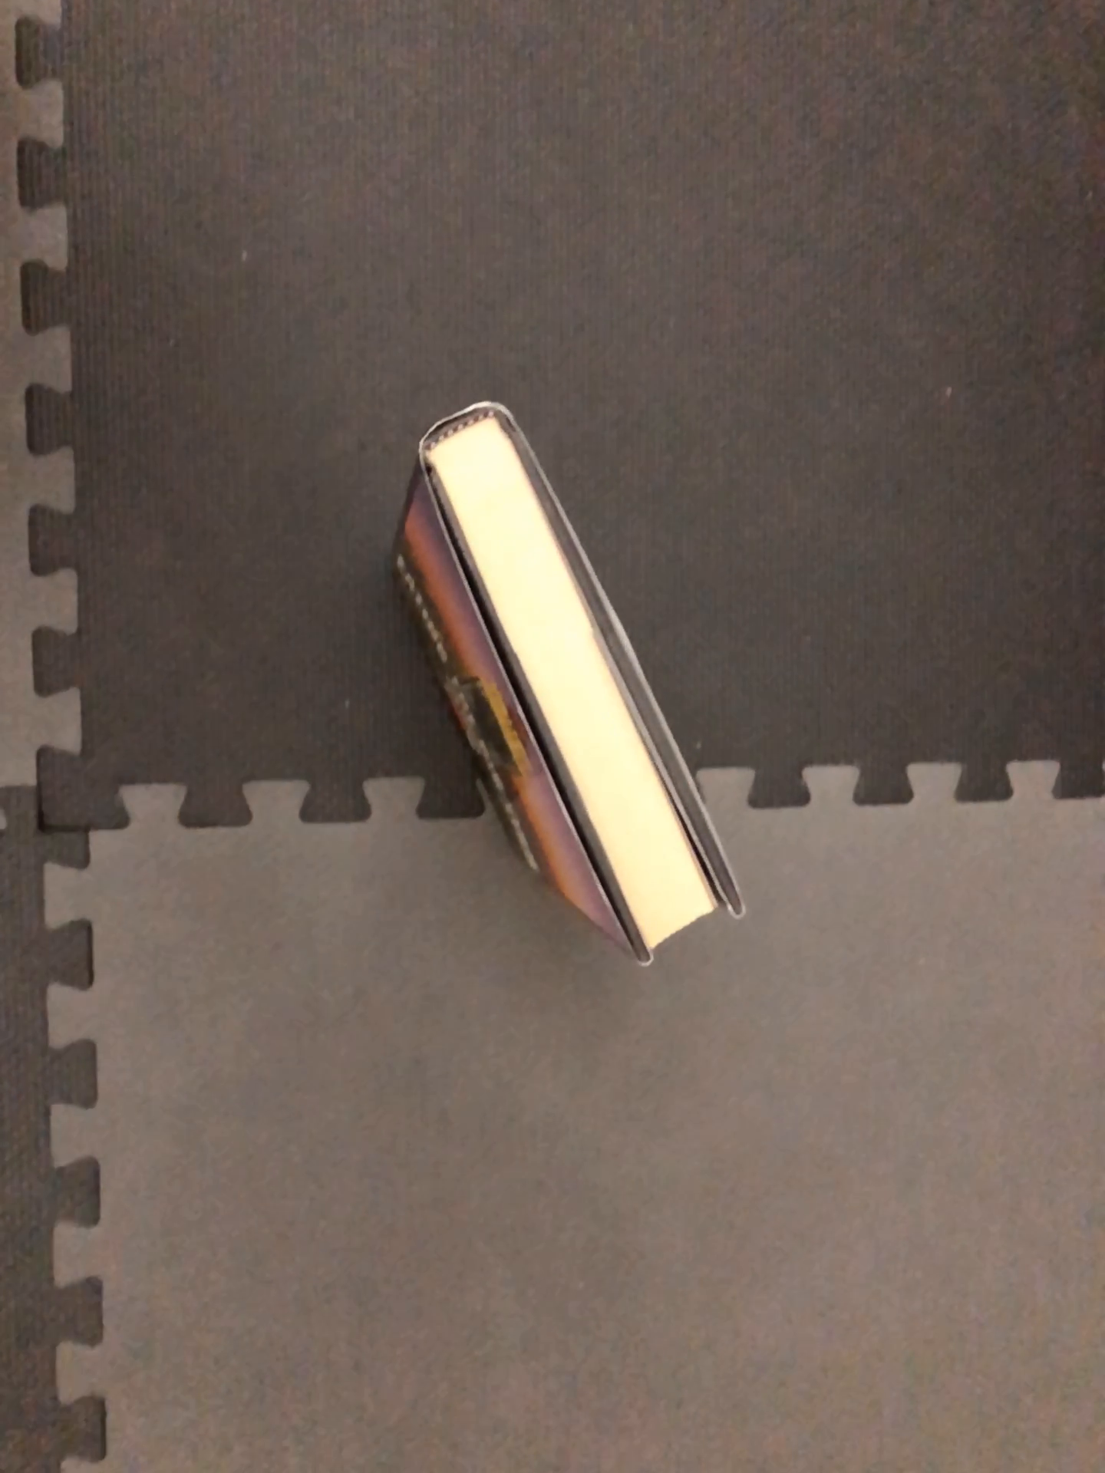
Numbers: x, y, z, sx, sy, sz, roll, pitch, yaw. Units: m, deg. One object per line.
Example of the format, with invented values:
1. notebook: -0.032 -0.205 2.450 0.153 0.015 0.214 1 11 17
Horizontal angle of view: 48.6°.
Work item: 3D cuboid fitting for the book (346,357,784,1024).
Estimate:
1. book: -0.012 -0.015 0.466 0.050 0.260 0.180 -26 95 -6
